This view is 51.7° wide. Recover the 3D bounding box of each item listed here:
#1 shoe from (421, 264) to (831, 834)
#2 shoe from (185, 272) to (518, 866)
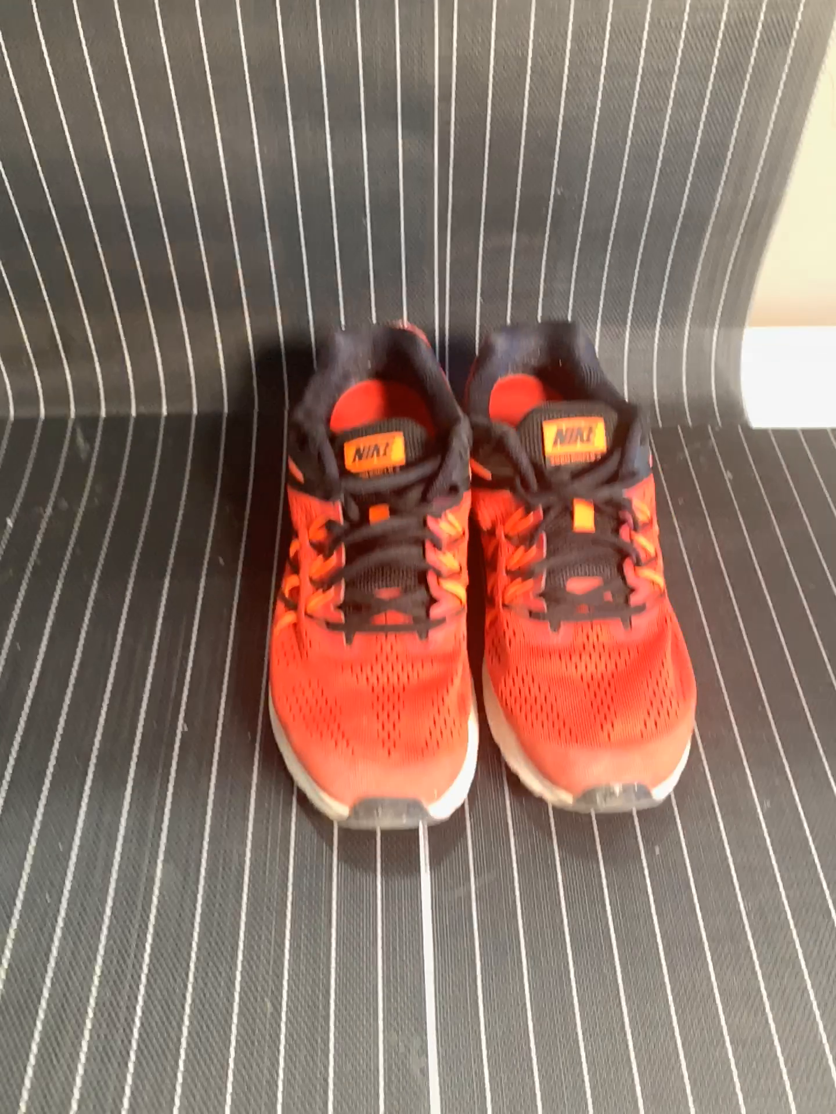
[{"bbox_3d":[0.076,-0.019,0.434,0.120,0.110,0.271,-4,52,-4],"label":"shoe"},{"bbox_3d":[-0.030,-0.012,0.447,0.120,0.110,0.301,-1,52,-2],"label":"shoe"}]
